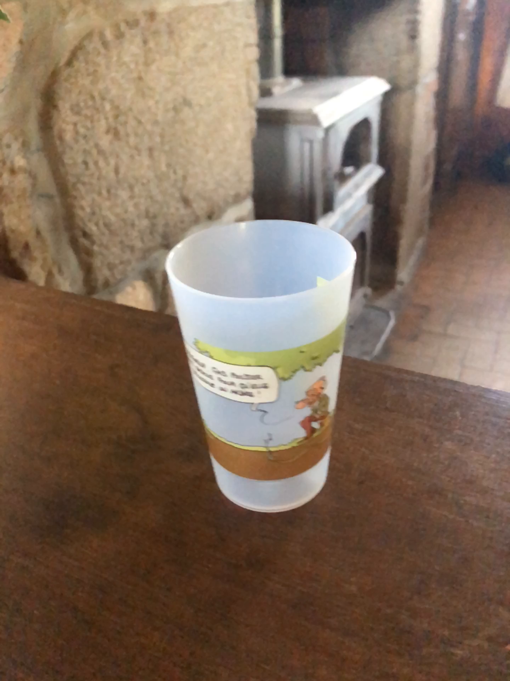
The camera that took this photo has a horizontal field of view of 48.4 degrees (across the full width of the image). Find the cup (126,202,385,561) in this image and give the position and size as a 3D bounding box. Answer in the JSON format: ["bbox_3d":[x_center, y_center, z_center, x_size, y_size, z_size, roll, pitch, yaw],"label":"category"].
[{"bbox_3d":[-0.002,0.015,0.252,0.080,0.119,0.080,-3,32,2],"label":"cup"}]

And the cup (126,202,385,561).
[{"bbox_3d":[-0.002,0.015,0.252,0.080,0.119,0.080,-3,32,2],"label":"cup"}]
